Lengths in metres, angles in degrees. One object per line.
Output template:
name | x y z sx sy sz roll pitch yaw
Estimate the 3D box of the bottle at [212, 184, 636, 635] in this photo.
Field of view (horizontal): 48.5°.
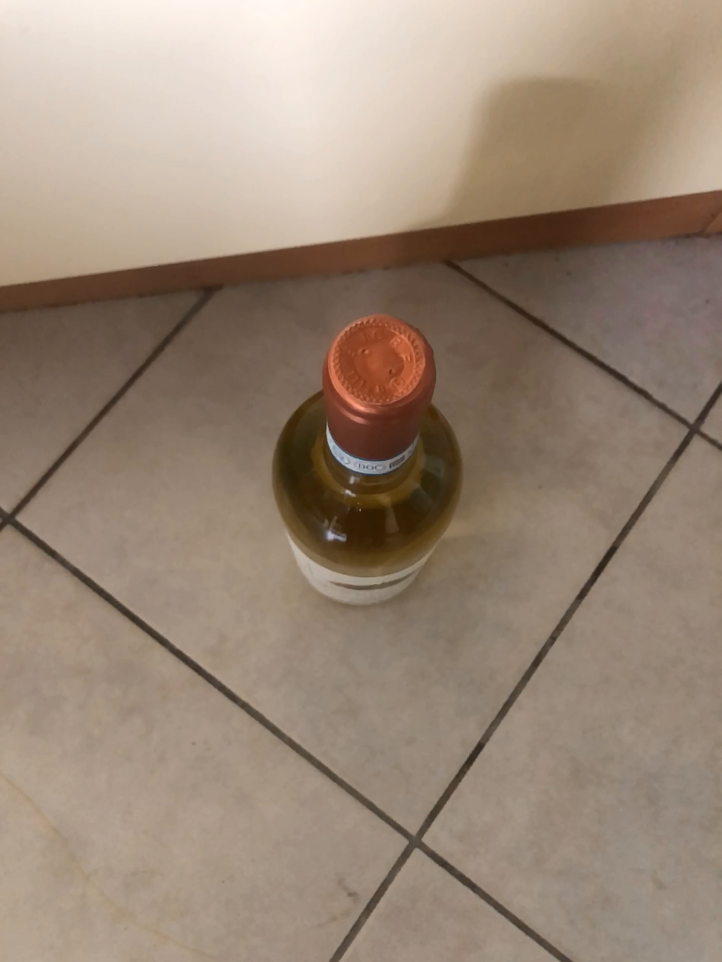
bottle | 0.009 0.005 0.341 0.090 0.290 0.090 0 76 -2
